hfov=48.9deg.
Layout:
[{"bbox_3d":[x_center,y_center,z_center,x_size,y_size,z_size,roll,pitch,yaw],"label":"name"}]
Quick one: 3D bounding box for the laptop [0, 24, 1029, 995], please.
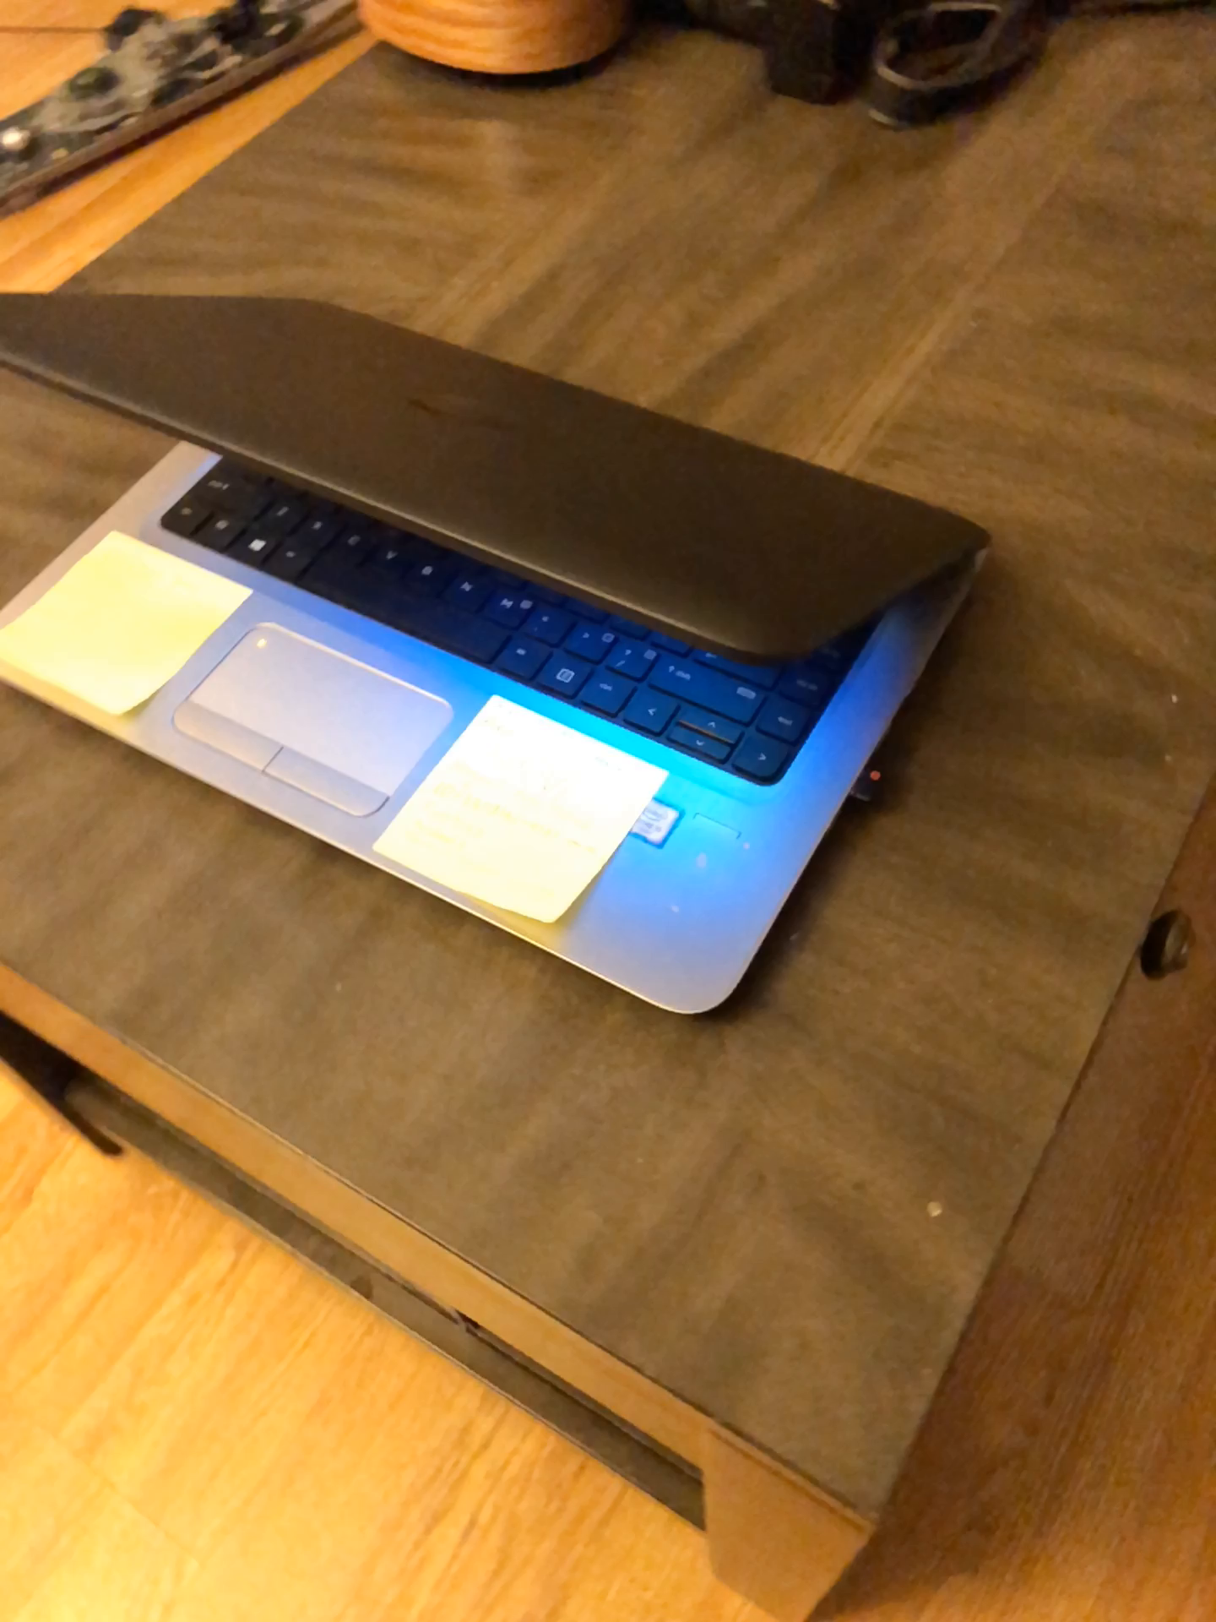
[{"bbox_3d":[-0.060,-0.124,0.476,0.324,0.131,0.226,25,61,18],"label":"laptop"}]
